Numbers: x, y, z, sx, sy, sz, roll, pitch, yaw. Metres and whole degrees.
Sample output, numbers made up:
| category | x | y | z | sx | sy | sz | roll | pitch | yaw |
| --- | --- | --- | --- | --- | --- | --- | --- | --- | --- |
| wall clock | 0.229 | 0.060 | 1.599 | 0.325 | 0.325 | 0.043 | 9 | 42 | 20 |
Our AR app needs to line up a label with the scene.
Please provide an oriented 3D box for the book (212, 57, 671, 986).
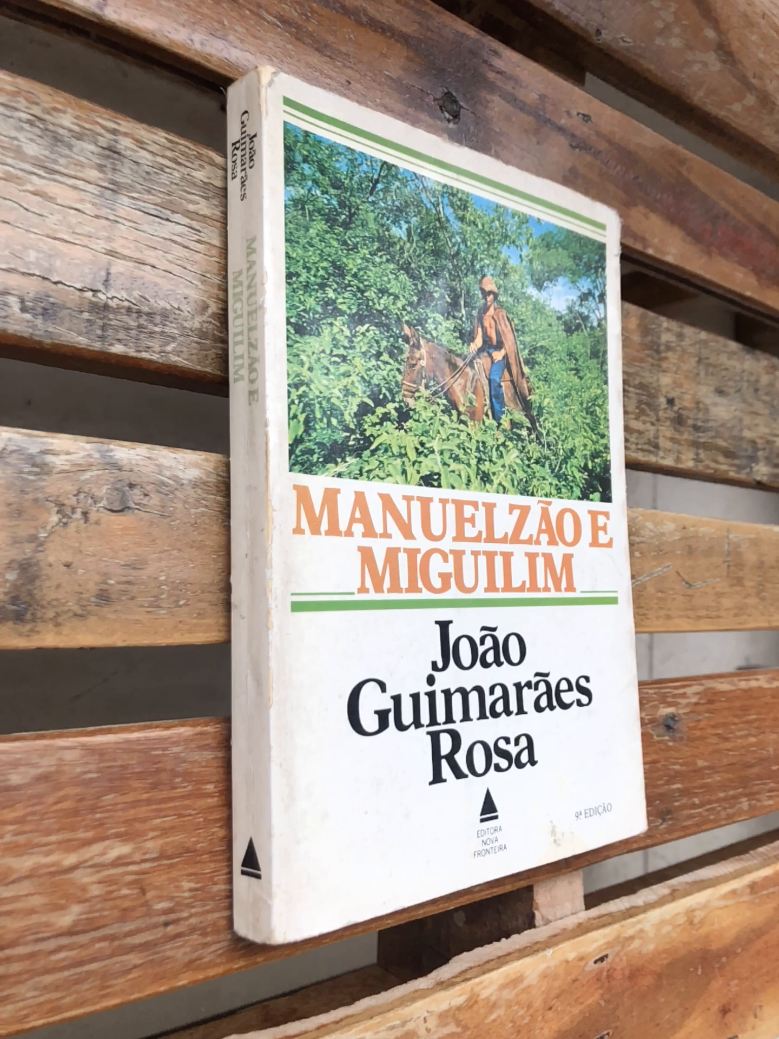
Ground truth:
| category | x | y | z | sx | sy | sz | roll | pitch | yaw |
| --- | --- | --- | --- | --- | --- | --- | --- | --- | --- |
| book | 0.021 | -0.001 | 0.239 | 0.142 | 0.020 | 0.200 | 3 | 83 | -39 |
